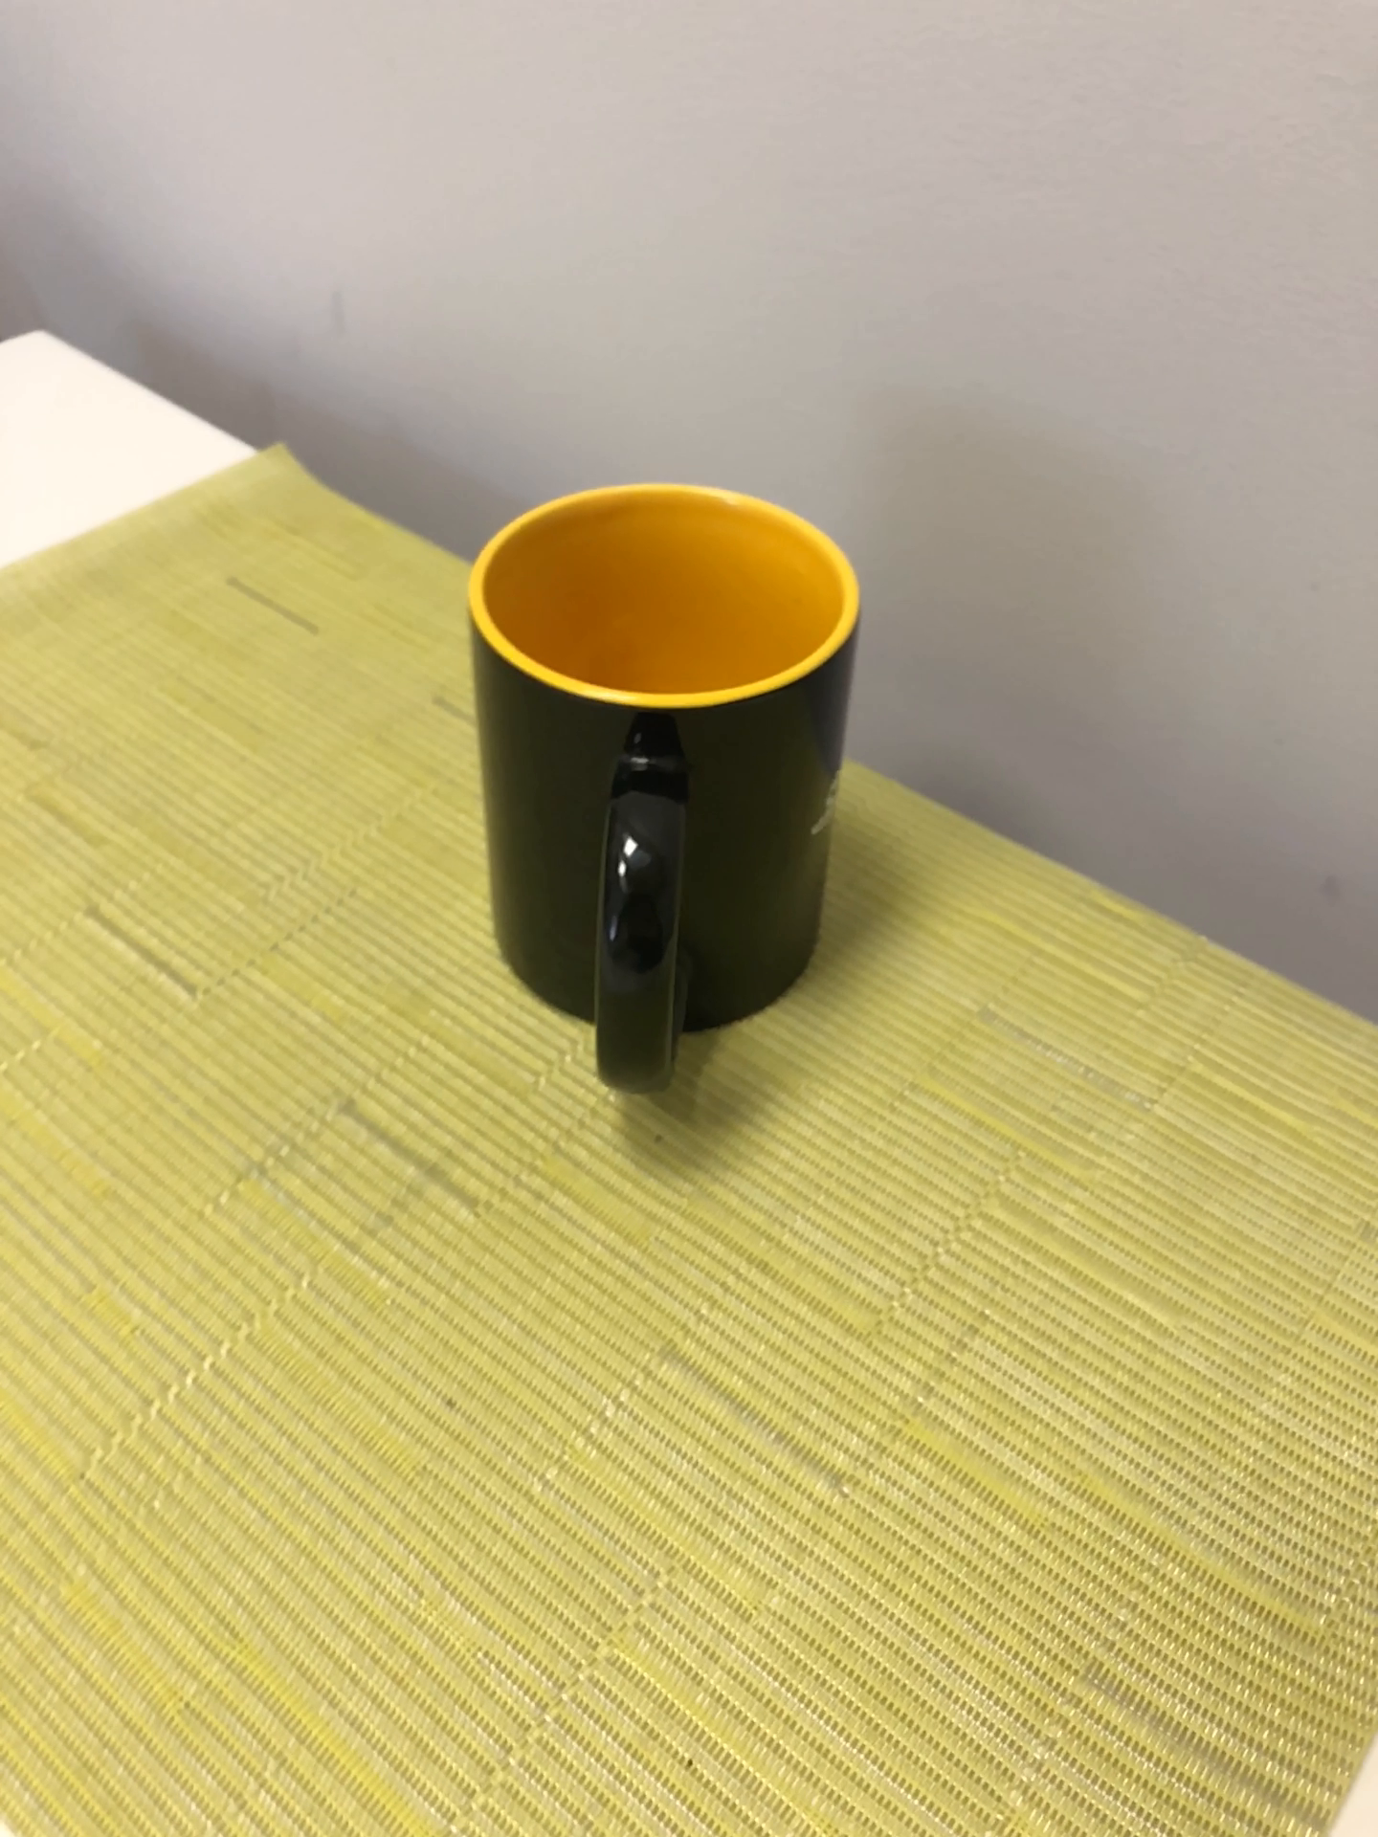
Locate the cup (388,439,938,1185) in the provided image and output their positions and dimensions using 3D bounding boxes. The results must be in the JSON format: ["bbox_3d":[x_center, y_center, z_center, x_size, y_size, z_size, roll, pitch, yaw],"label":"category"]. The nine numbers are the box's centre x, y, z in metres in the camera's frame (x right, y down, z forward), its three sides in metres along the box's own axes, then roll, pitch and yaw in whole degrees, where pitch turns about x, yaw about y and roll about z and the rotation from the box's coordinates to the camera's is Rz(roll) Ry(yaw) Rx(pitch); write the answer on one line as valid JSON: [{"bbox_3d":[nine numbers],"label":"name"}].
[{"bbox_3d":[-0.008,-0.024,0.327,0.088,0.104,0.120,0,44,-3],"label":"cup"}]
